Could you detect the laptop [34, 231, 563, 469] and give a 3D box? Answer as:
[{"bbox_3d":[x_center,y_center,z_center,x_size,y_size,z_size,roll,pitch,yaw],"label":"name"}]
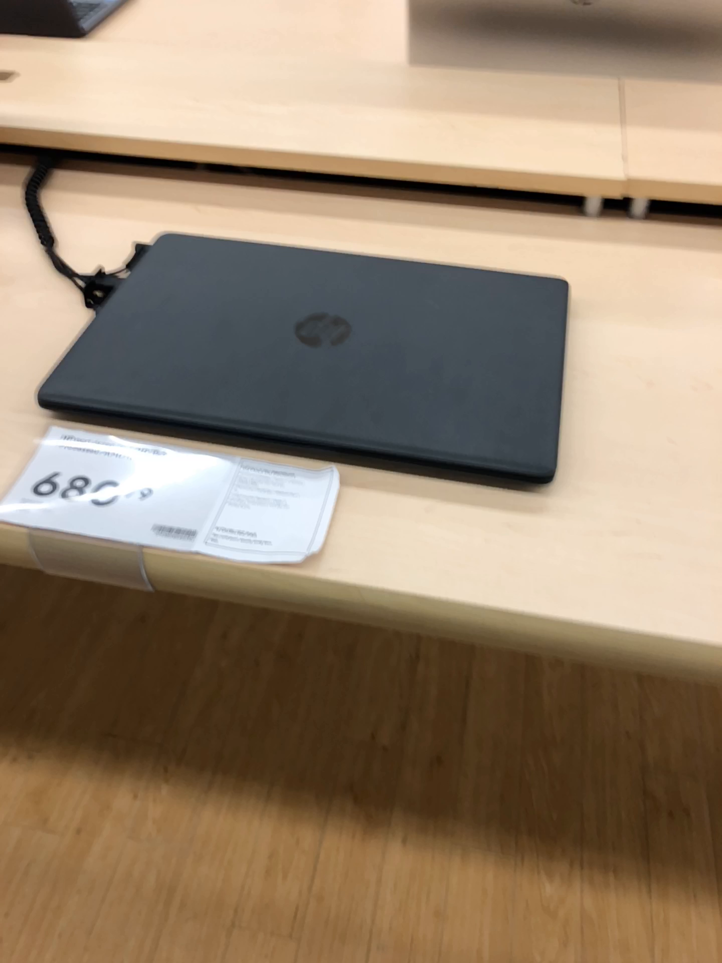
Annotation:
[{"bbox_3d":[-0.031,-0.123,0.646,0.374,0.005,0.245,9,46,8],"label":"laptop"}]
